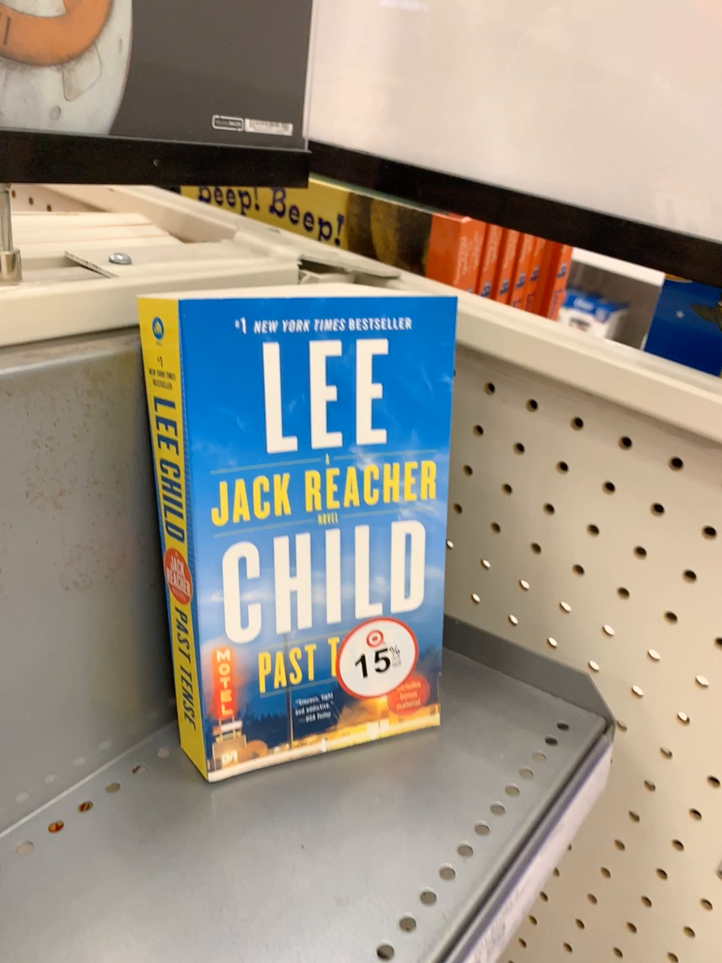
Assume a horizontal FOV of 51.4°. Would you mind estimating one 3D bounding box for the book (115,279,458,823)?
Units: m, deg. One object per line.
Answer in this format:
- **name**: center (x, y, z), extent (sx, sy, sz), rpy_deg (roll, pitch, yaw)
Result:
- **book**: center (-0.027, 0.016, 0.322), extent (0.110, 0.197, 0.080), rpy_deg (-12, 18, -38)
